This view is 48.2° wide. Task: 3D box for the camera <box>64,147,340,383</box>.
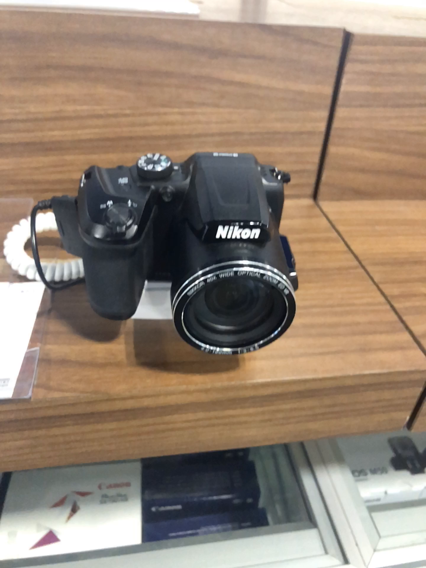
[{"bbox_3d":[-0.012,-0.016,0.248,0.110,0.079,0.096,-2,35,-9],"label":"camera"}]
